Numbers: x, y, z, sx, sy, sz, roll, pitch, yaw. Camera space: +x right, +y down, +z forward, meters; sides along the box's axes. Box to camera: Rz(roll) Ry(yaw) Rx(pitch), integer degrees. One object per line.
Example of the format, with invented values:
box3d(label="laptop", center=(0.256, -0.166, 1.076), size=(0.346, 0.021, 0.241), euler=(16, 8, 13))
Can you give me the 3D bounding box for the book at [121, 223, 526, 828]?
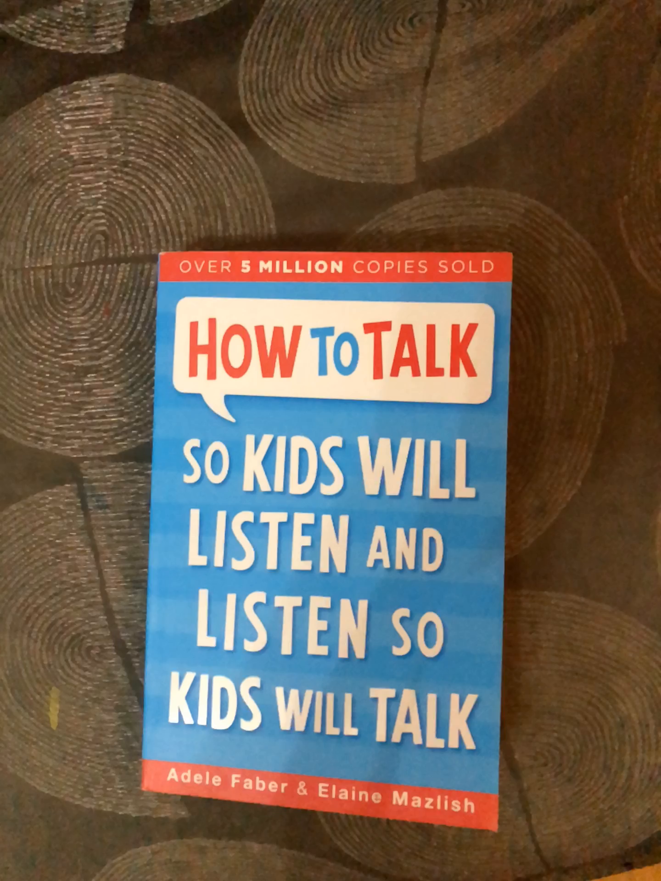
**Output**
box3d(label="book", center=(-0.004, 0.029, 0.274), size=(0.140, 0.030, 0.210), euler=(2, 93, 6))
